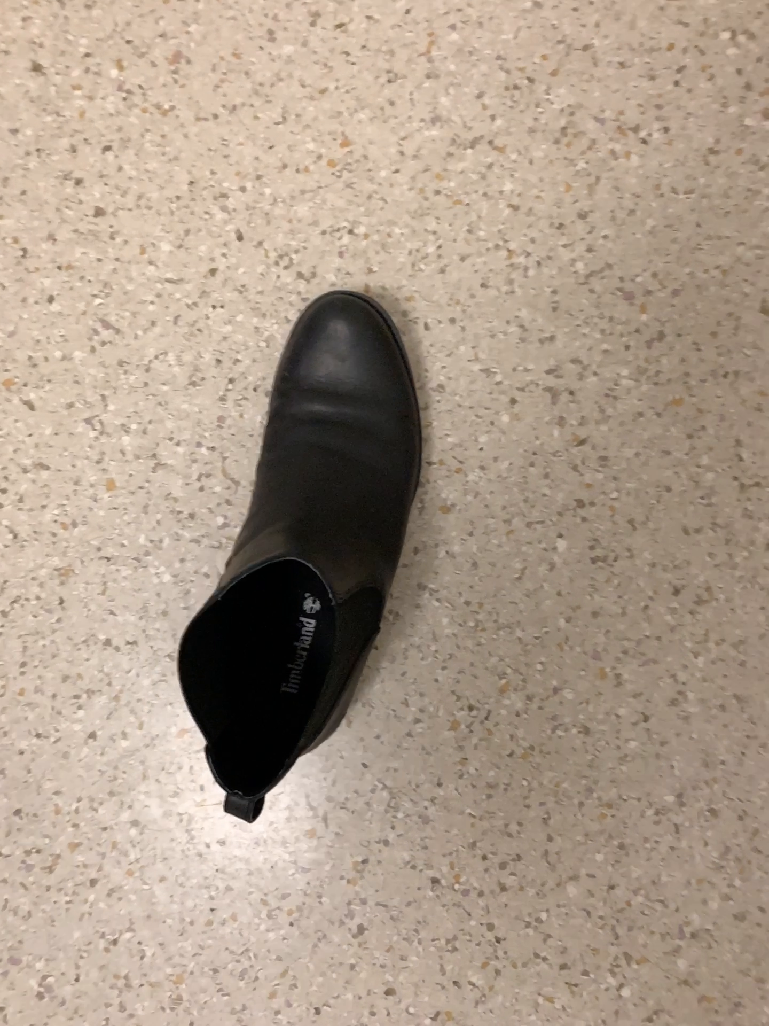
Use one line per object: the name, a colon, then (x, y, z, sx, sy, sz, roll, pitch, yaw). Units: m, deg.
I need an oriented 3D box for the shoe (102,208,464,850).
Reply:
shoe: (-0.039, 0.007, 0.424, 0.107, 0.164, 0.262, 11, 87, 3)
